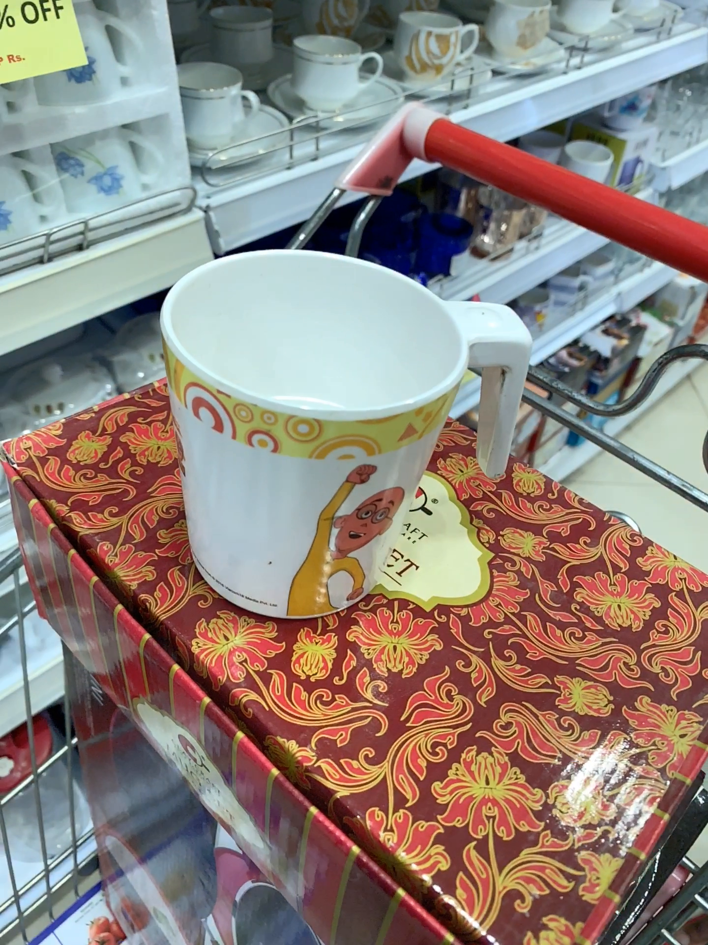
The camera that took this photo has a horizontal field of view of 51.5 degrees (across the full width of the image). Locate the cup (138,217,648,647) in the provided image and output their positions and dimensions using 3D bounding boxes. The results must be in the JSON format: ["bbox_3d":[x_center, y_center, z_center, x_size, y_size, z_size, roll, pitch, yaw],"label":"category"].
[{"bbox_3d":[0.002,-0.016,0.214,0.110,0.080,0.080,-8,47,-18],"label":"cup"}]
